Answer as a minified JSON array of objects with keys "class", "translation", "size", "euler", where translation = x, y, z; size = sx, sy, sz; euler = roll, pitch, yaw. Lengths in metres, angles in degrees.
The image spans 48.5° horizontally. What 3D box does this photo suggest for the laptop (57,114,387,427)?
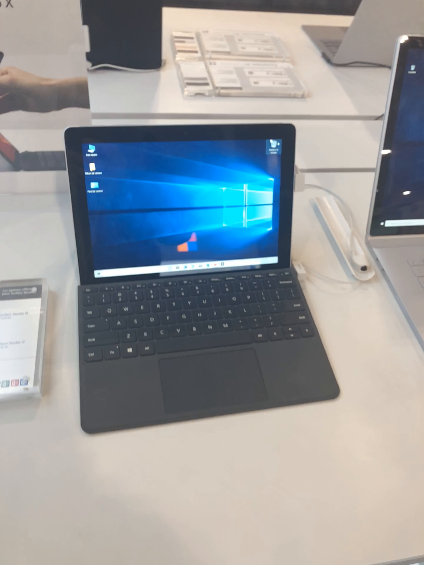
[{"class":"laptop","translation":[-0.014,-0.028,0.459],"size":[0.236,0.140,0.251],"euler":[-5,51,-14]}]
